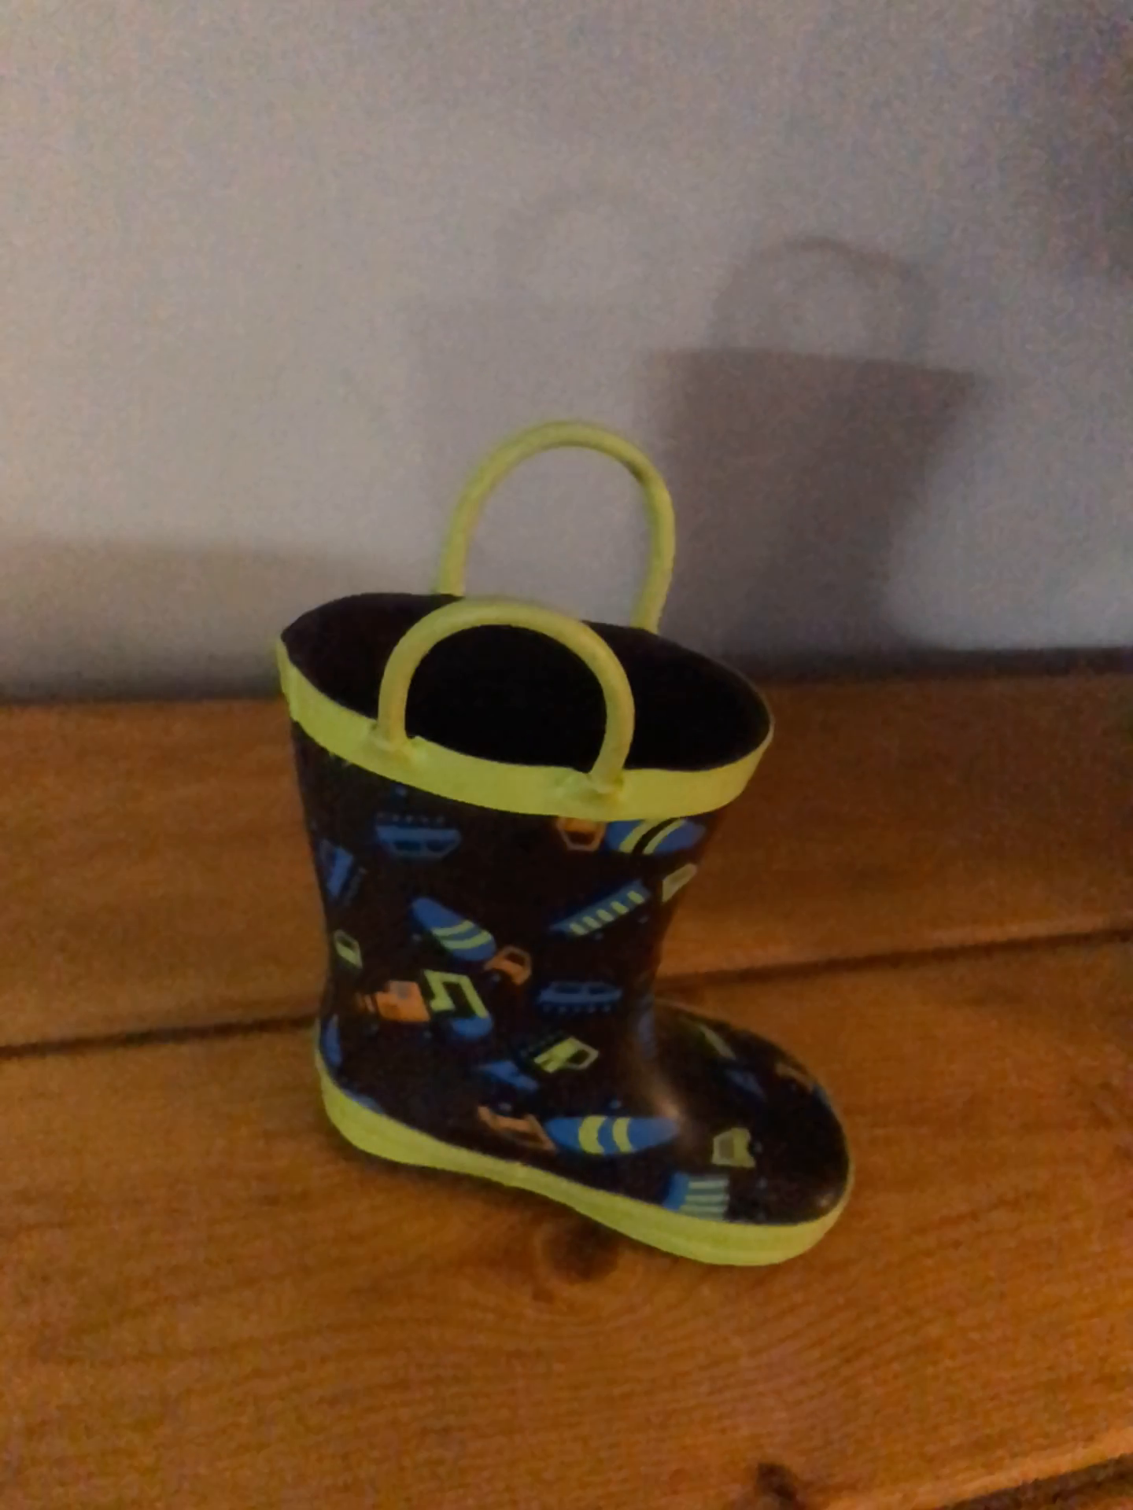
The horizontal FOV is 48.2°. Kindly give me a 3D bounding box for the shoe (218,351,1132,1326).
[{"bbox_3d":[0.014,0.034,0.304,0.170,0.199,0.080,15,43,1],"label":"shoe"}]
